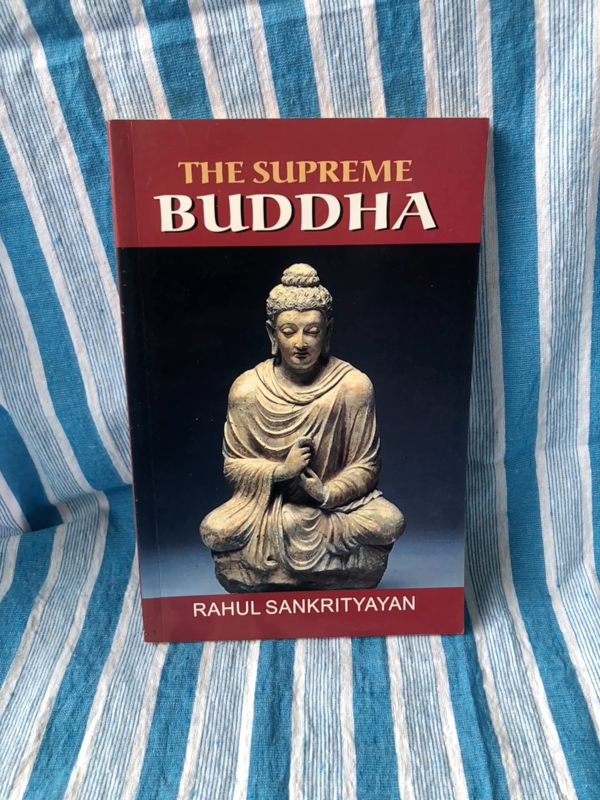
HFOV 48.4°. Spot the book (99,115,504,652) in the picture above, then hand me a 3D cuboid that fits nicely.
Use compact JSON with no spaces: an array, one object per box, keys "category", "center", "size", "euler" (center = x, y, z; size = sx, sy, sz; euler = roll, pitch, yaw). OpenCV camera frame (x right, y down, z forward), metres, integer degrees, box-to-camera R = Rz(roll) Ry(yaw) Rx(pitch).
[{"category":"book","center":[0.002,0.000,0.280],"size":[0.150,0.219,0.020],"euler":[-1,12,-2]}]
